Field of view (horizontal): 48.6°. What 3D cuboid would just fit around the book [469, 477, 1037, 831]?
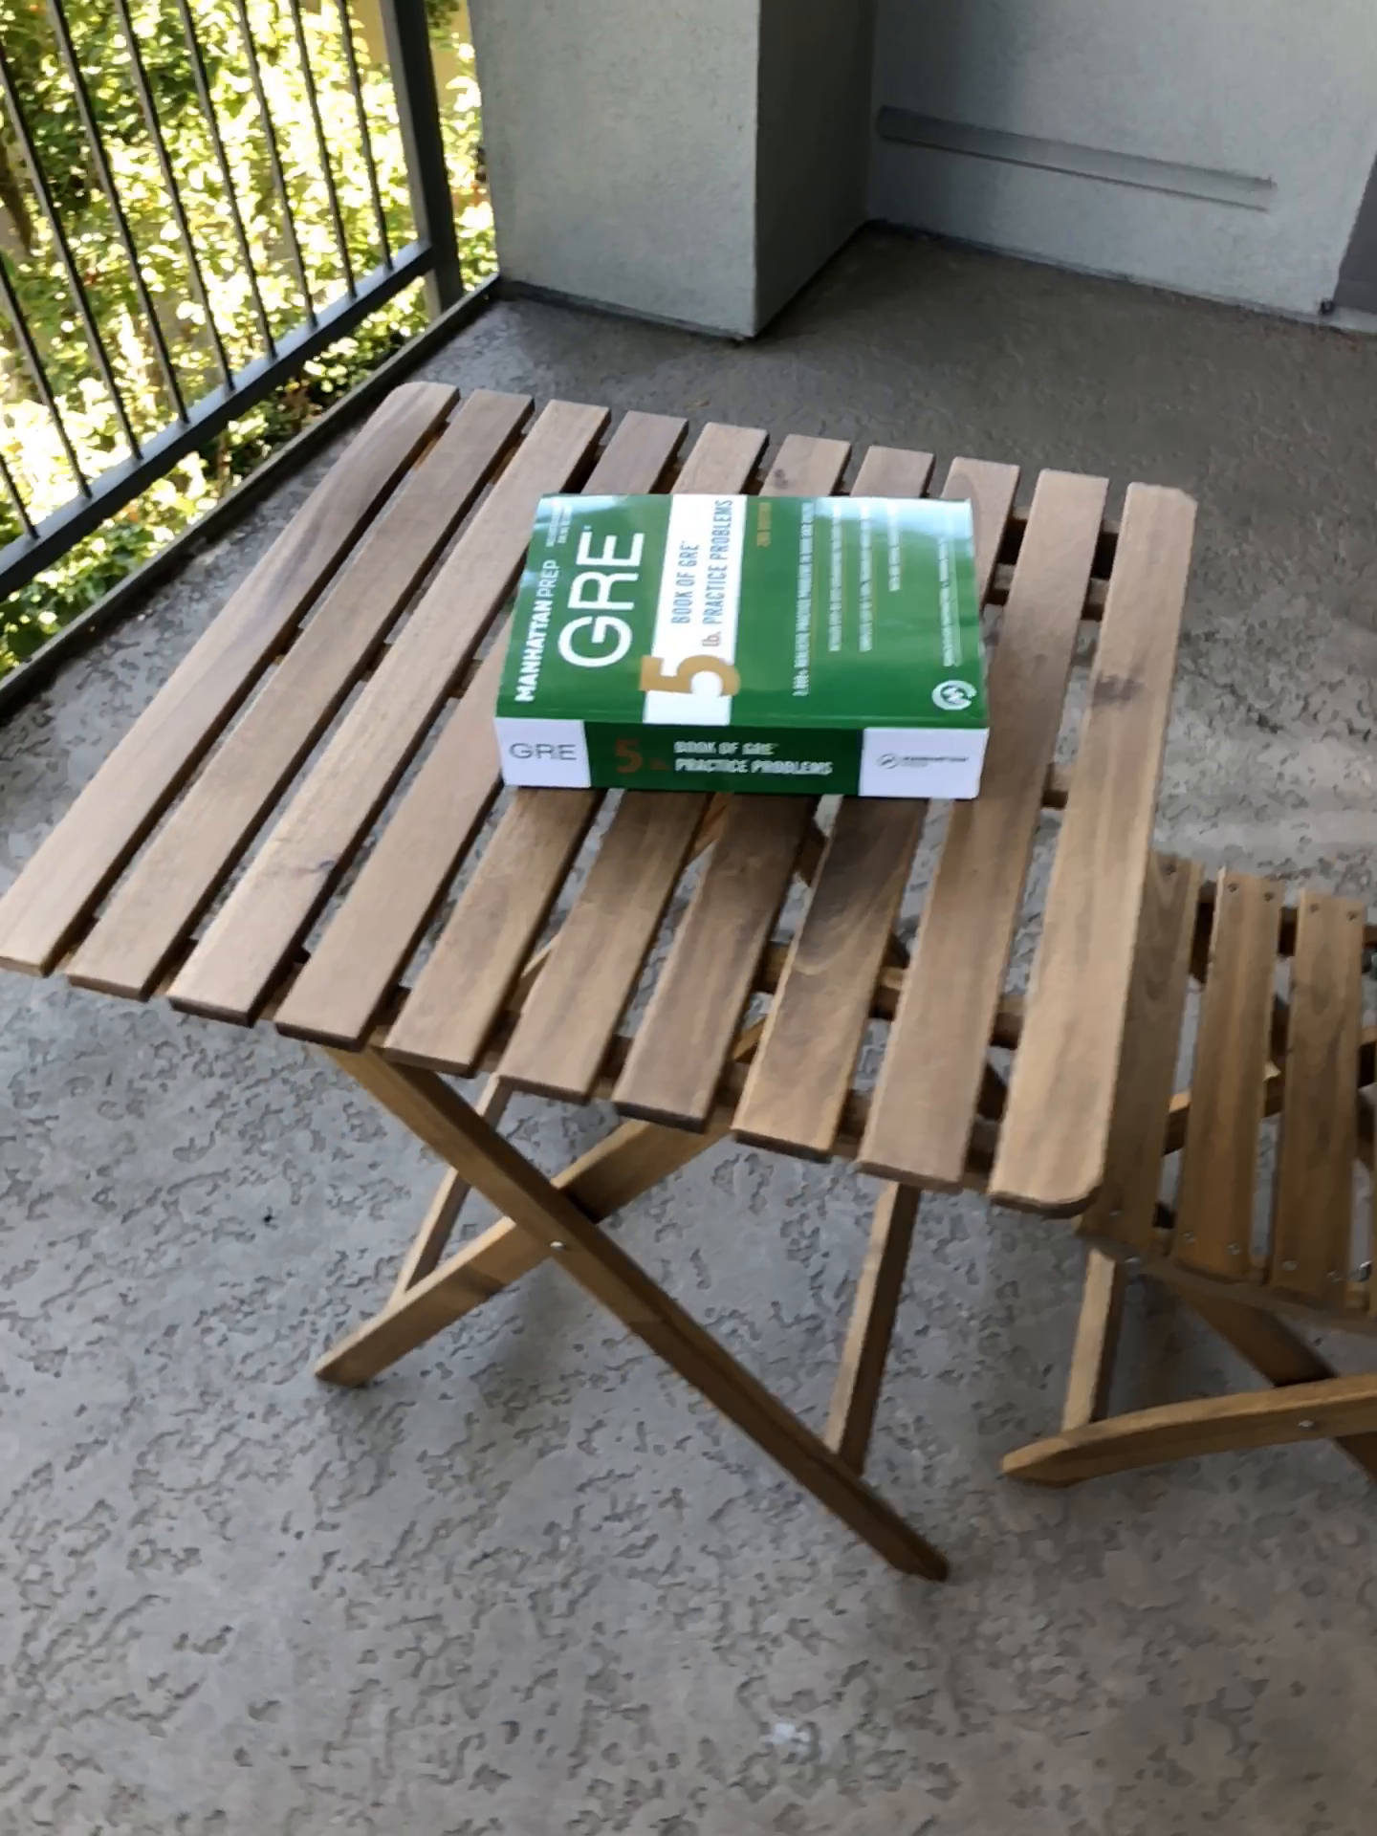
[{"bbox_3d":[0.041,-0.169,0.936,0.310,0.060,0.251,2,50,3],"label":"book"}]
